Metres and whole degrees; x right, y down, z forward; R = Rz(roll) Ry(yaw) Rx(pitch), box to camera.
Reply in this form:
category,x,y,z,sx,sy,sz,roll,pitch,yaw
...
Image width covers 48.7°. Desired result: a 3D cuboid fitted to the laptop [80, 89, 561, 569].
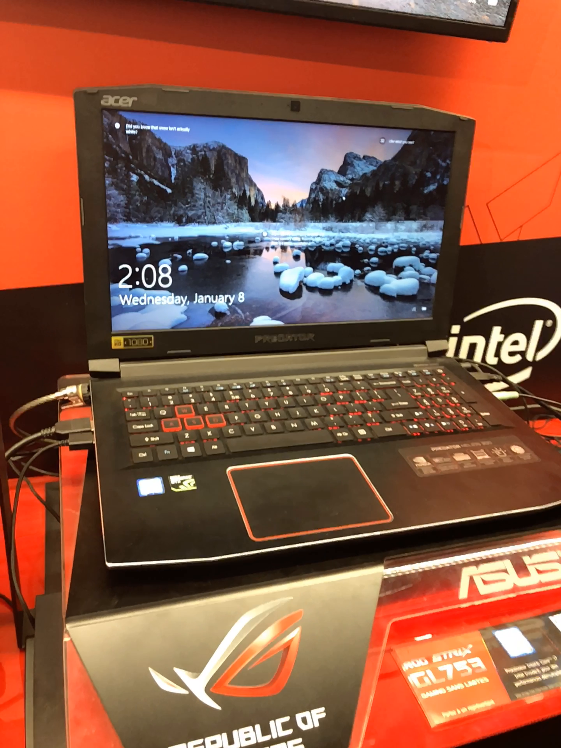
category,x,y,z,sx,sy,sz,roll,pitch,yaw
laptop,0.045,-0.072,0.510,0.385,0.239,0.295,-3,29,-18
